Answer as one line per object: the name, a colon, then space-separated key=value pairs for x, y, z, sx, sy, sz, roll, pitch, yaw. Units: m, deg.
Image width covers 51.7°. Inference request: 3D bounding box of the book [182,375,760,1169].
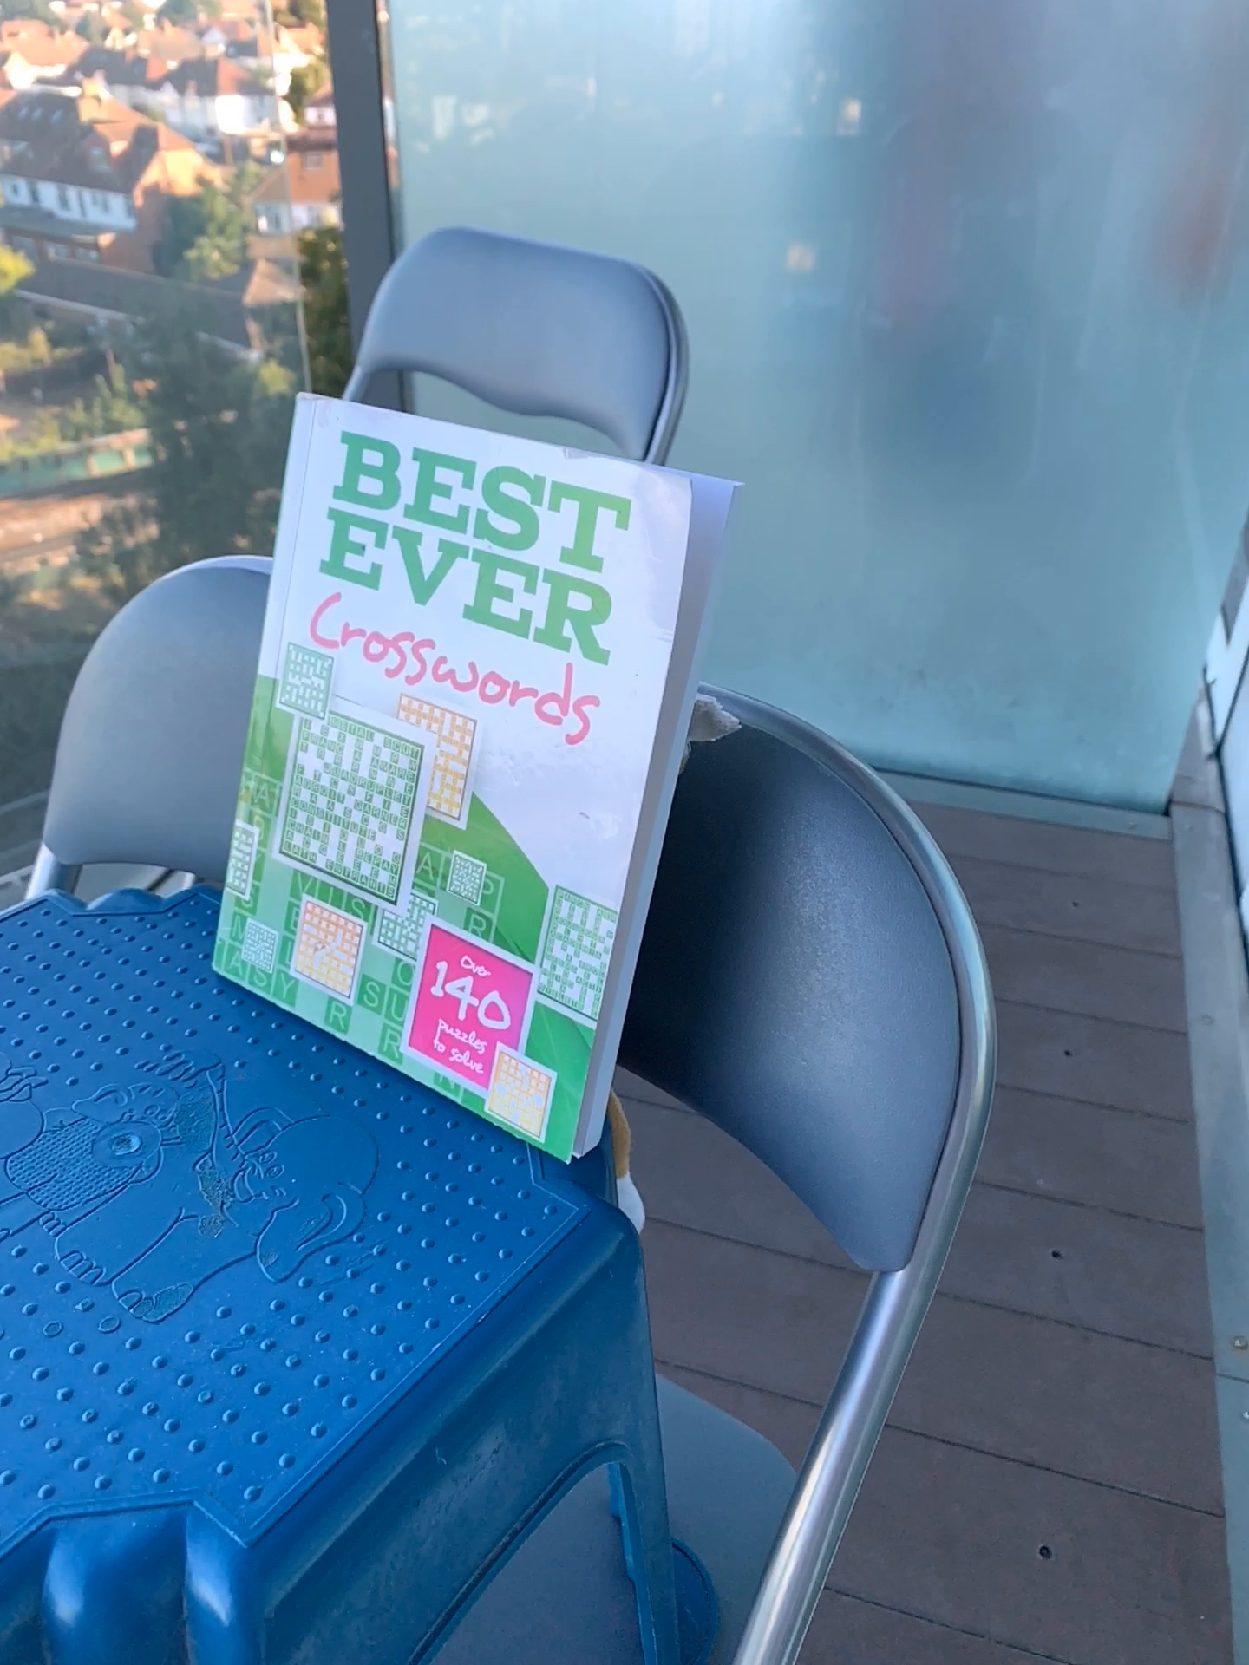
book: x=-0.057 y=-0.023 z=0.391 sx=0.157 sy=0.196 sz=0.030 roll=21 pitch=16 yaw=28
